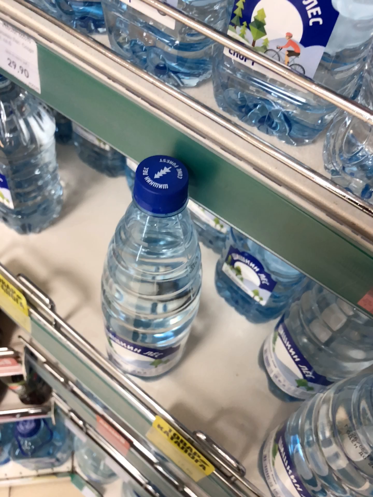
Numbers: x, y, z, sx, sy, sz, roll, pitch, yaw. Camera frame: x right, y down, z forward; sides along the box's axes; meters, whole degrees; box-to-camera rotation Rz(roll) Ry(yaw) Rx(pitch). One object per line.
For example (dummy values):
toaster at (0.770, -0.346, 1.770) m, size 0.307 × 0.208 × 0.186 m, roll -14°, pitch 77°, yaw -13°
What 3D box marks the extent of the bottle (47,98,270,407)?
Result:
bottle at (-0.026, 0.033, 0.336) m, size 0.090 × 0.273 × 0.080 m, roll 30°, pitch 57°, yaw 13°
